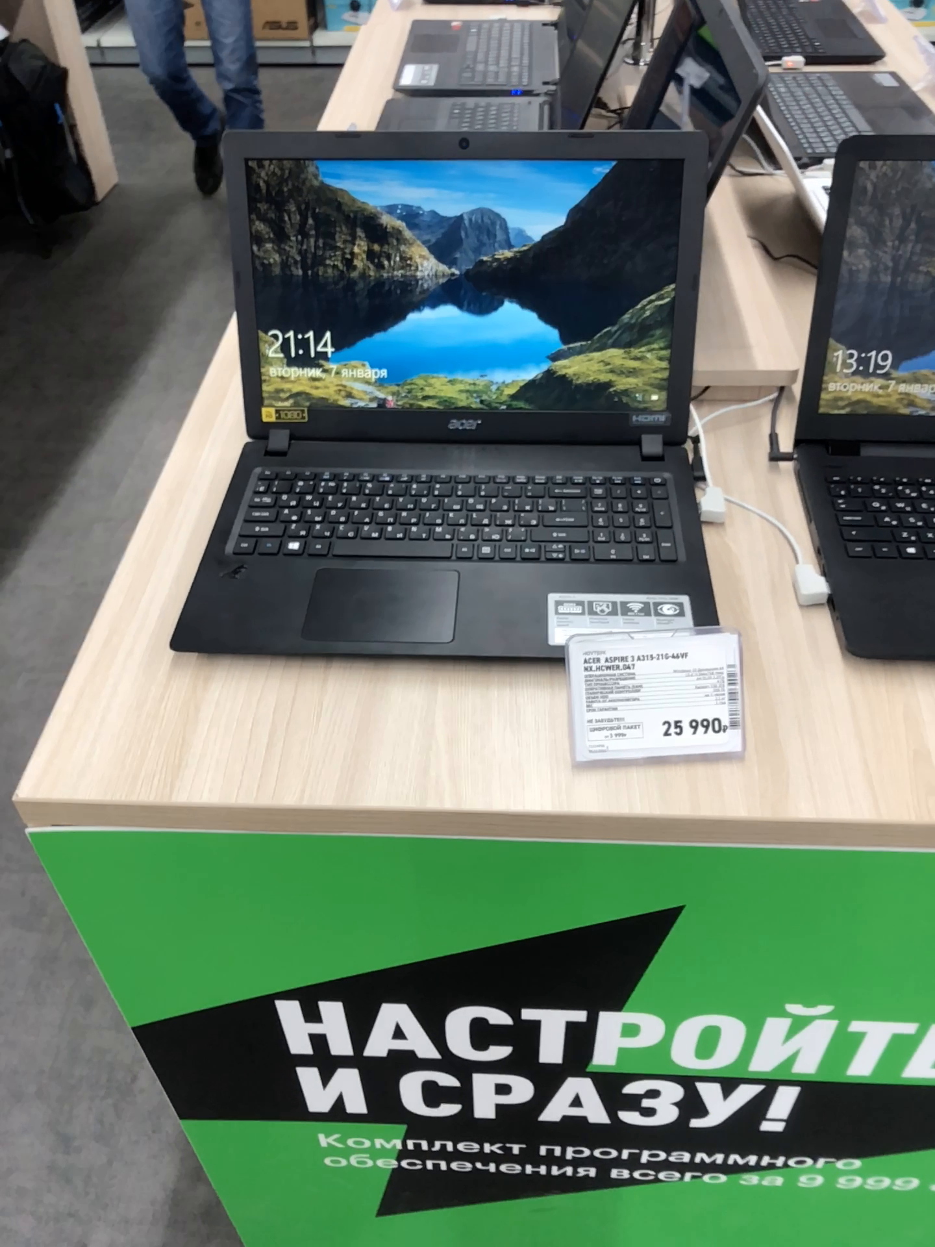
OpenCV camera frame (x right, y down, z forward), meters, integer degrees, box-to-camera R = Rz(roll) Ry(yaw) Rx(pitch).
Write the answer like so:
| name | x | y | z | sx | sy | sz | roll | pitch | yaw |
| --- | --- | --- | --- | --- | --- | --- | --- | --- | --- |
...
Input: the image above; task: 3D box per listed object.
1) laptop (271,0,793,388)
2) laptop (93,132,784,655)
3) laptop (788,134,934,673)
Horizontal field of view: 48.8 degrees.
| name | x | y | z | sx | sy | sz | roll | pitch | yaw |
| --- | --- | --- | --- | --- | --- | --- | --- | --- | --- |
| laptop | 0.054 | -0.454 | 1.013 | 0.395 | 0.250 | 0.403 | 0 | 44 | 4 |
| laptop | -0.008 | -0.183 | 0.756 | 0.374 | 0.219 | 0.349 | 1 | 44 | 3 |
| laptop | 0.457 | -0.162 | 0.712 | 0.358 | 0.220 | 0.296 | 1 | 45 | 4 |
